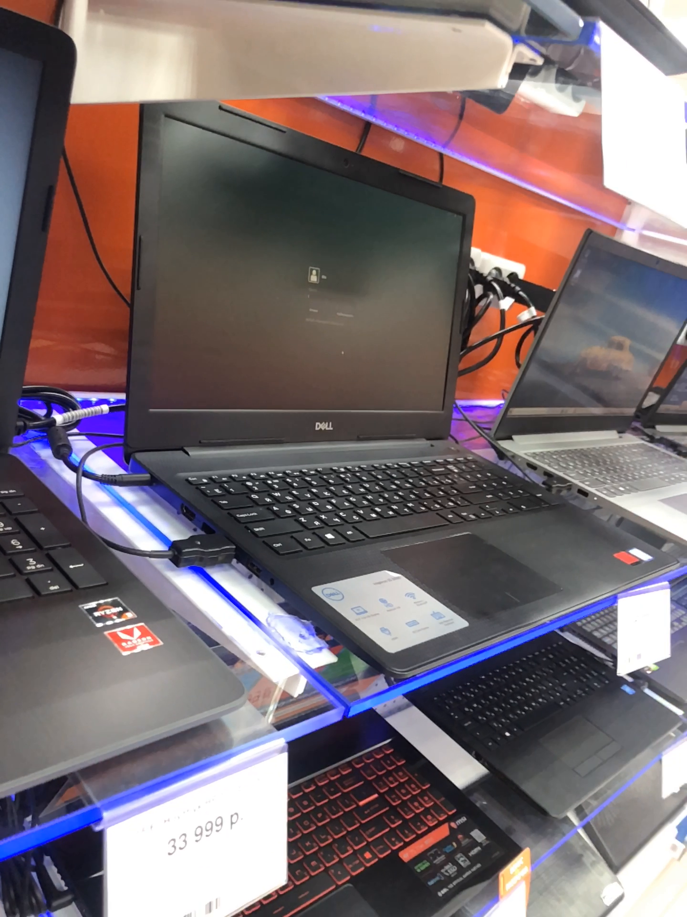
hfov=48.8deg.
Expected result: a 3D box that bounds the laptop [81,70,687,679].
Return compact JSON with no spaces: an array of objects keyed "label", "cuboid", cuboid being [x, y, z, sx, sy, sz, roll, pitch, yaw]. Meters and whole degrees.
[{"label":"laptop","cuboid":[0.077,-0.079,0.552,0.316,0.233,0.374,31,22,37]}]
